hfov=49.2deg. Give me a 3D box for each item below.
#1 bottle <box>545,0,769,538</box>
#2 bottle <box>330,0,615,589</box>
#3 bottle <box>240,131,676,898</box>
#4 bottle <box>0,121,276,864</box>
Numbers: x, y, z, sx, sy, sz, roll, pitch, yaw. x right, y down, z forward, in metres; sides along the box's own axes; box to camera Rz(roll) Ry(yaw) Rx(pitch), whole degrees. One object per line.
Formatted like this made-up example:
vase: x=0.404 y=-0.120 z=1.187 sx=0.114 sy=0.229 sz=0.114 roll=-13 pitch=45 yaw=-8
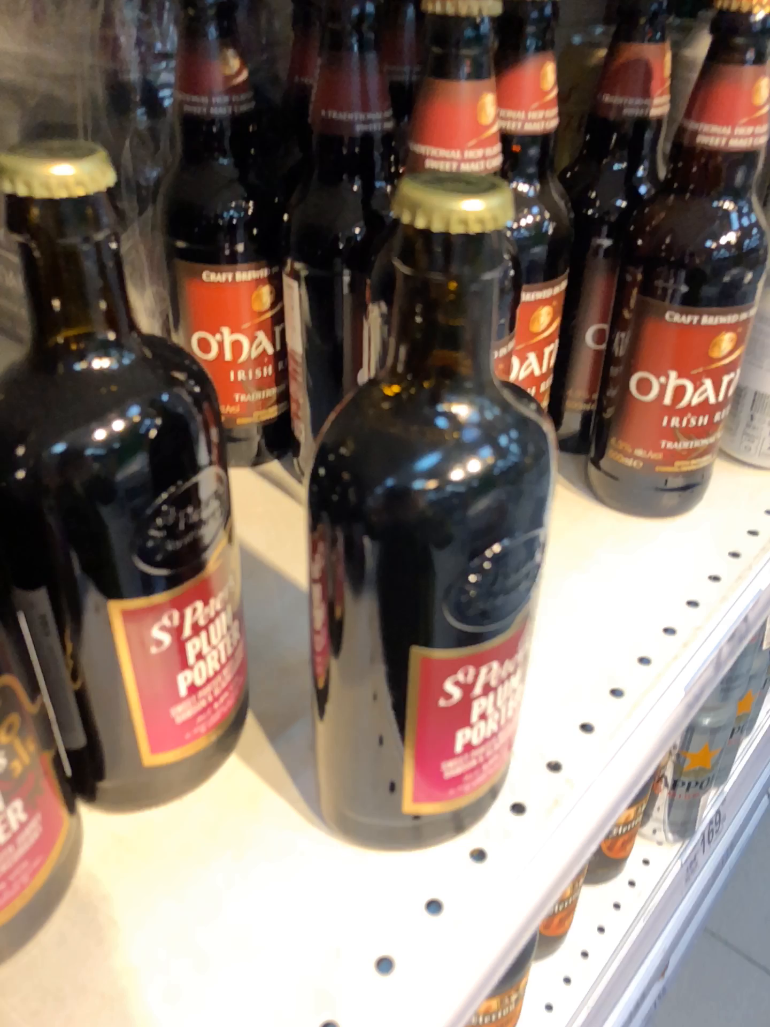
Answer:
bottle: x=0.142 y=-0.112 z=0.397 sx=0.074 sy=0.235 sz=0.070 roll=1 pitch=36 yaw=-1
bottle: x=0.027 y=-0.088 z=0.362 sx=0.072 sy=0.230 sz=0.070 roll=1 pitch=36 yaw=-1
bottle: x=0.016 y=0.010 z=0.250 sx=0.058 sy=0.209 sz=0.082 roll=31 pitch=45 yaw=34
bottle: x=-0.092 y=0.002 z=0.266 sx=0.069 sy=0.213 sz=0.079 roll=22 pitch=41 yaw=25
